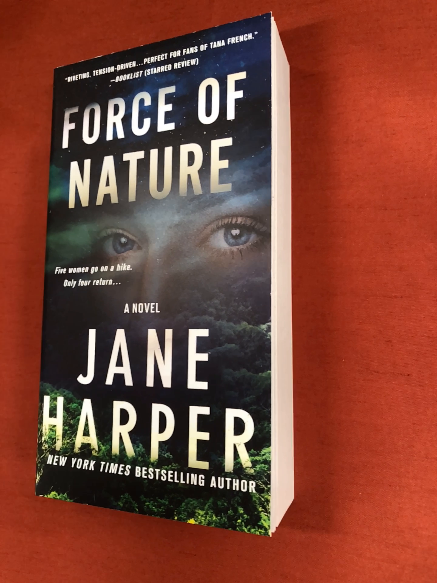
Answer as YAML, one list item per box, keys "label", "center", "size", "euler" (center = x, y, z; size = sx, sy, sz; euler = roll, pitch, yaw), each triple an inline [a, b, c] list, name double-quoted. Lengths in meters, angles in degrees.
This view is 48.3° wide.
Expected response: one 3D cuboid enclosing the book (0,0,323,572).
- label: "book"
  center: [-0.022, -0.001, 0.195]
  size: [0.110, 0.050, 0.180]
  euler: [-3, 90, 22]
